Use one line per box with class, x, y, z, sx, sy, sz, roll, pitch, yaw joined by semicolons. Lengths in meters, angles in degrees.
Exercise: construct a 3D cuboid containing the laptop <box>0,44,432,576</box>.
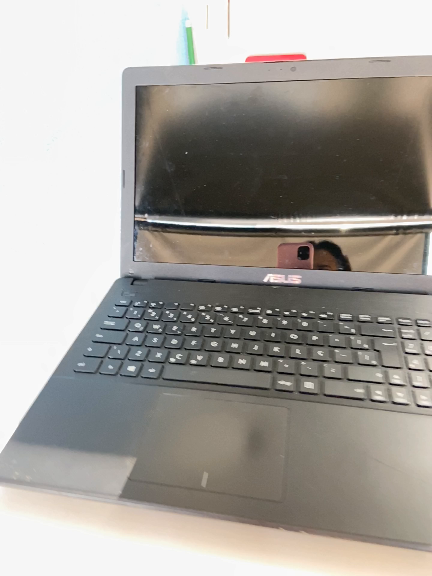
laptop;0.052;-0.048;0.358;0.367;0.200;0.363;3;34;13
